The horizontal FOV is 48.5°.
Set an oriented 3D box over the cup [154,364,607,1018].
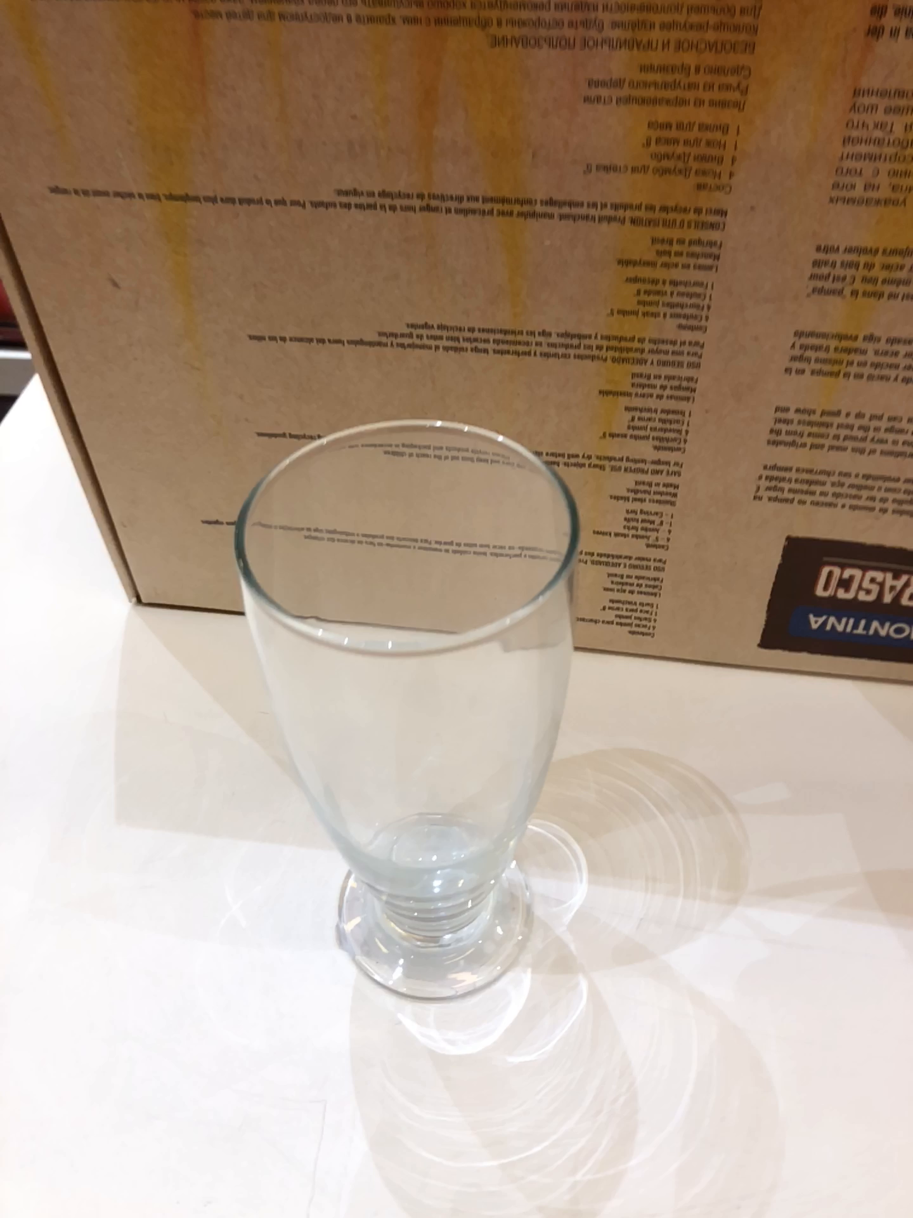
[{"bbox_3d":[-0.010,0.035,0.297,0.090,0.189,0.080,4,45,6],"label":"cup"}]
